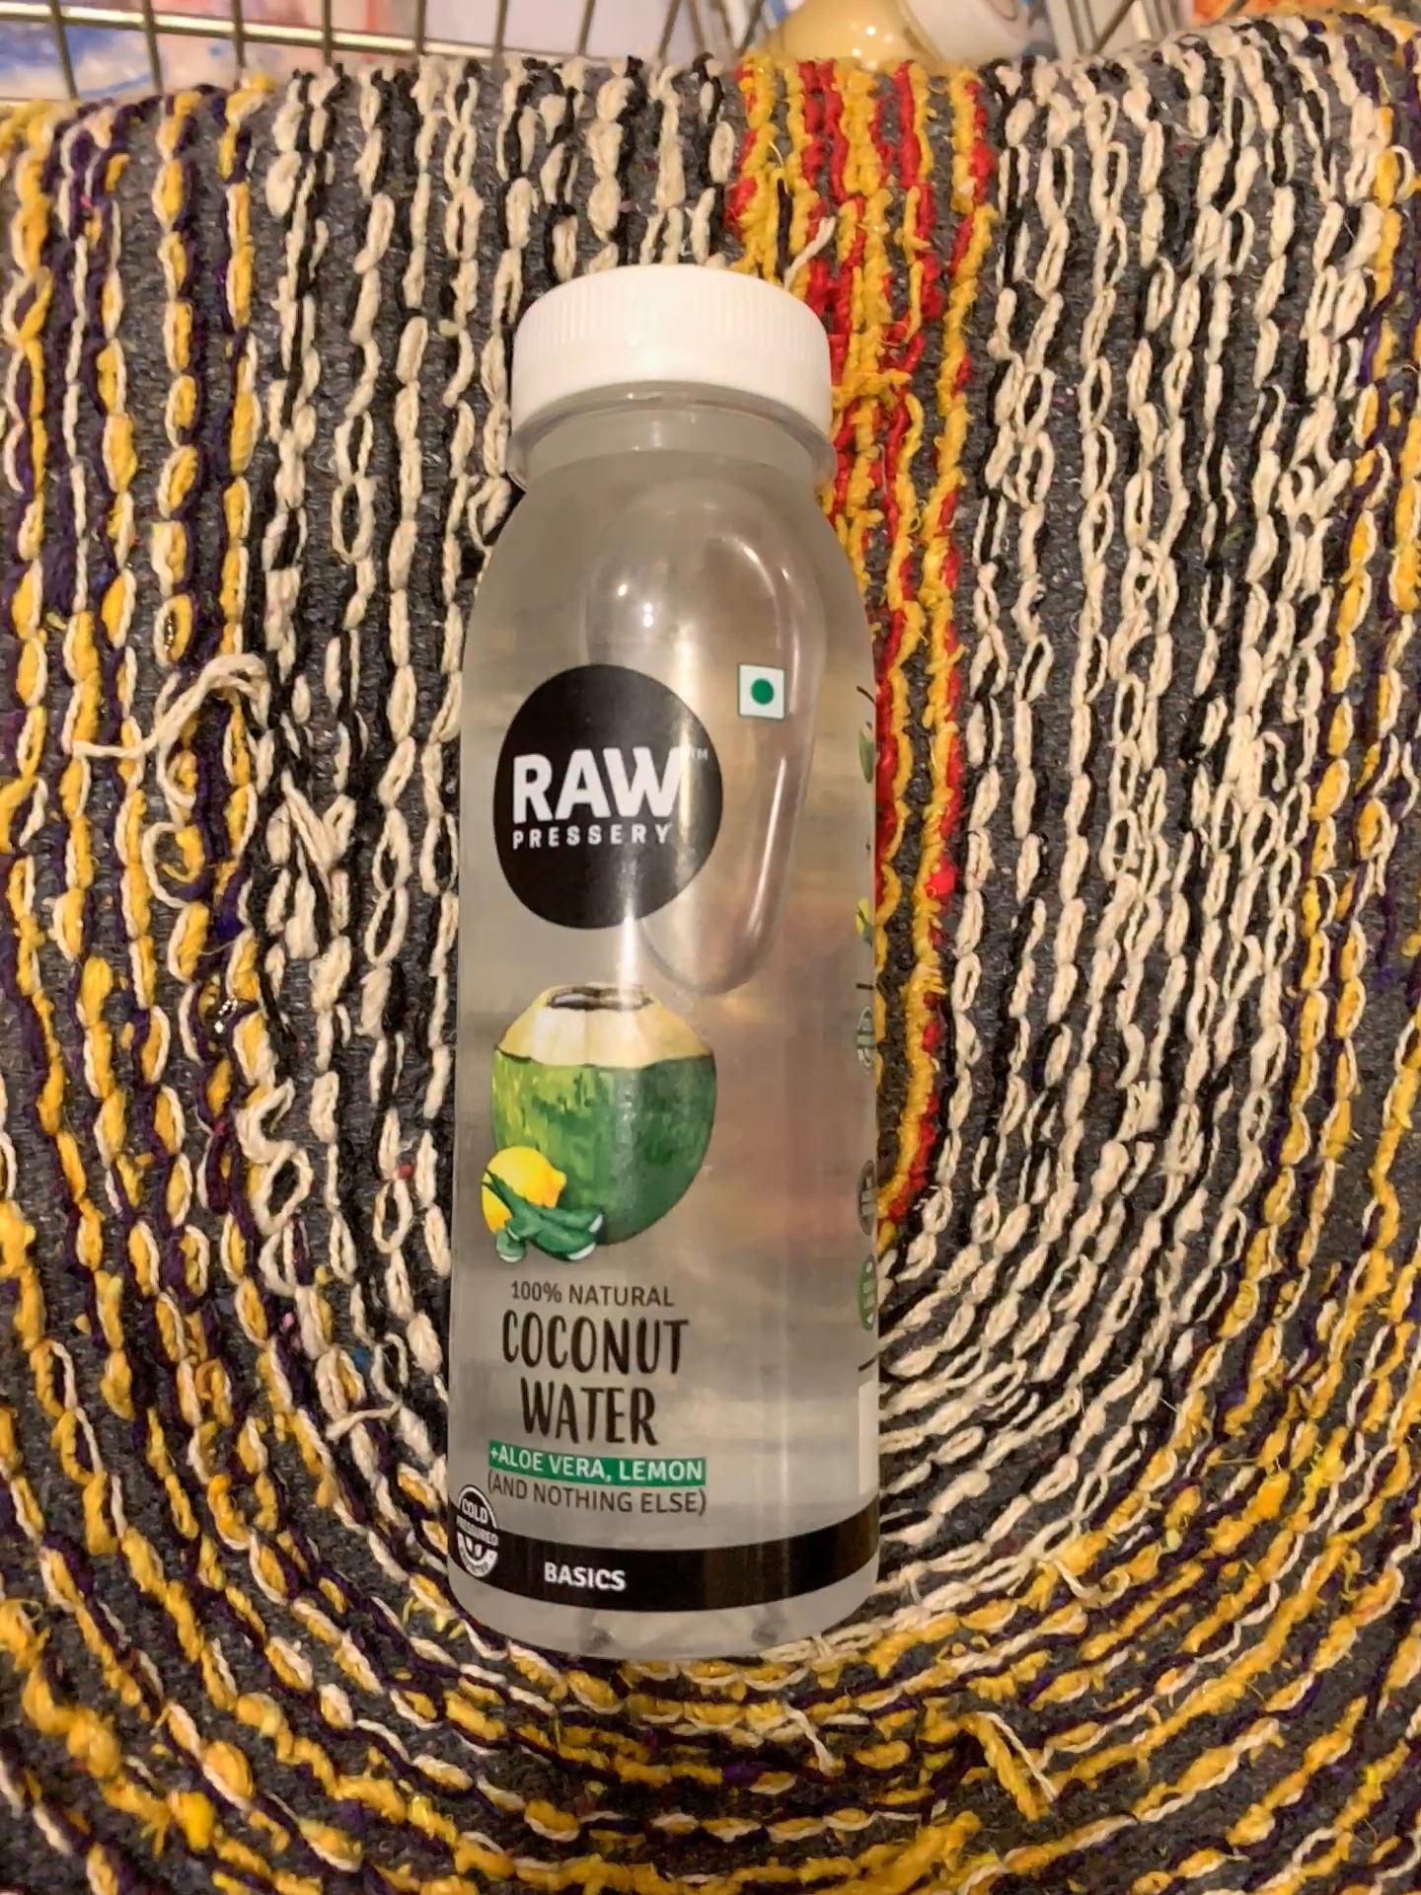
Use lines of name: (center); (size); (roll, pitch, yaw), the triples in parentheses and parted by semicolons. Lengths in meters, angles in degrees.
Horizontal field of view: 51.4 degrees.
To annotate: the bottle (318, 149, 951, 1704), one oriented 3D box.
bottle: (-0.004, -0.003, 0.171); (0.060, 0.050, 0.150); (-1, 84, 10)
